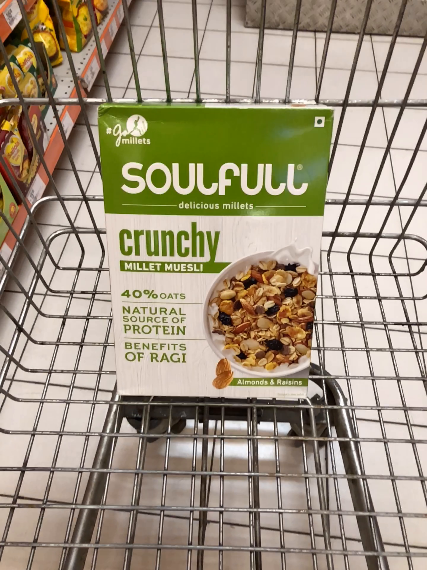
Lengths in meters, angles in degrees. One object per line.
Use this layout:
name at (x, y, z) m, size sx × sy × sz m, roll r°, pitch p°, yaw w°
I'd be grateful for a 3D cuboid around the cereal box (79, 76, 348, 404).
cereal box at (-0.001, -0.030, 0.372) m, size 0.170 × 0.239 × 0.070 m, roll 1°, pitch 20°, yaw 0°
